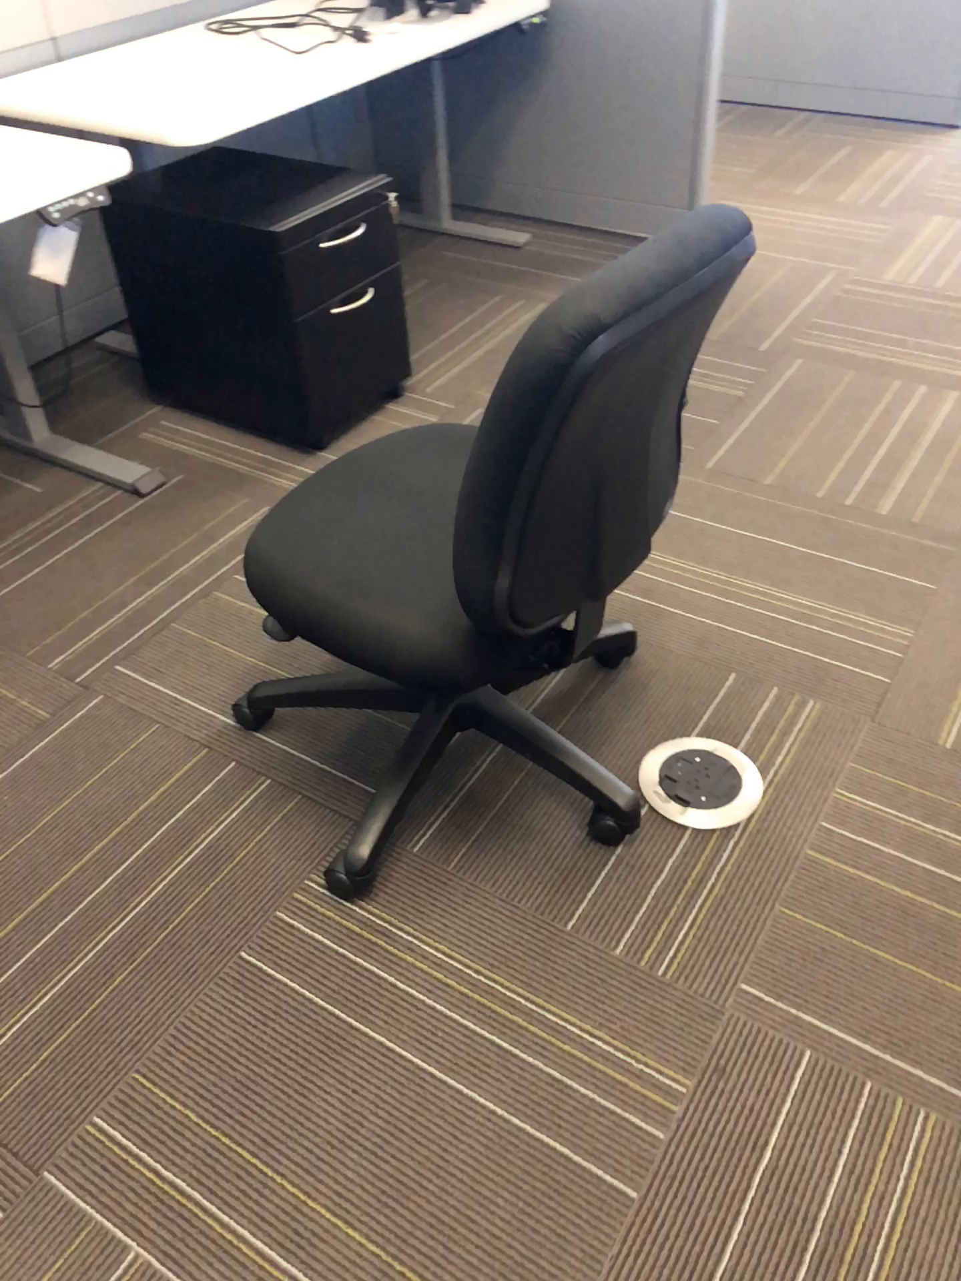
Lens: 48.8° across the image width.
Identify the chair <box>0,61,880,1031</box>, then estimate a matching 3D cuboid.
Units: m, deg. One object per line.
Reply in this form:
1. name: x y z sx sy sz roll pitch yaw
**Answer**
1. chair: -0.044 -0.190 1.416 0.762 0.846 0.772 20 45 26
